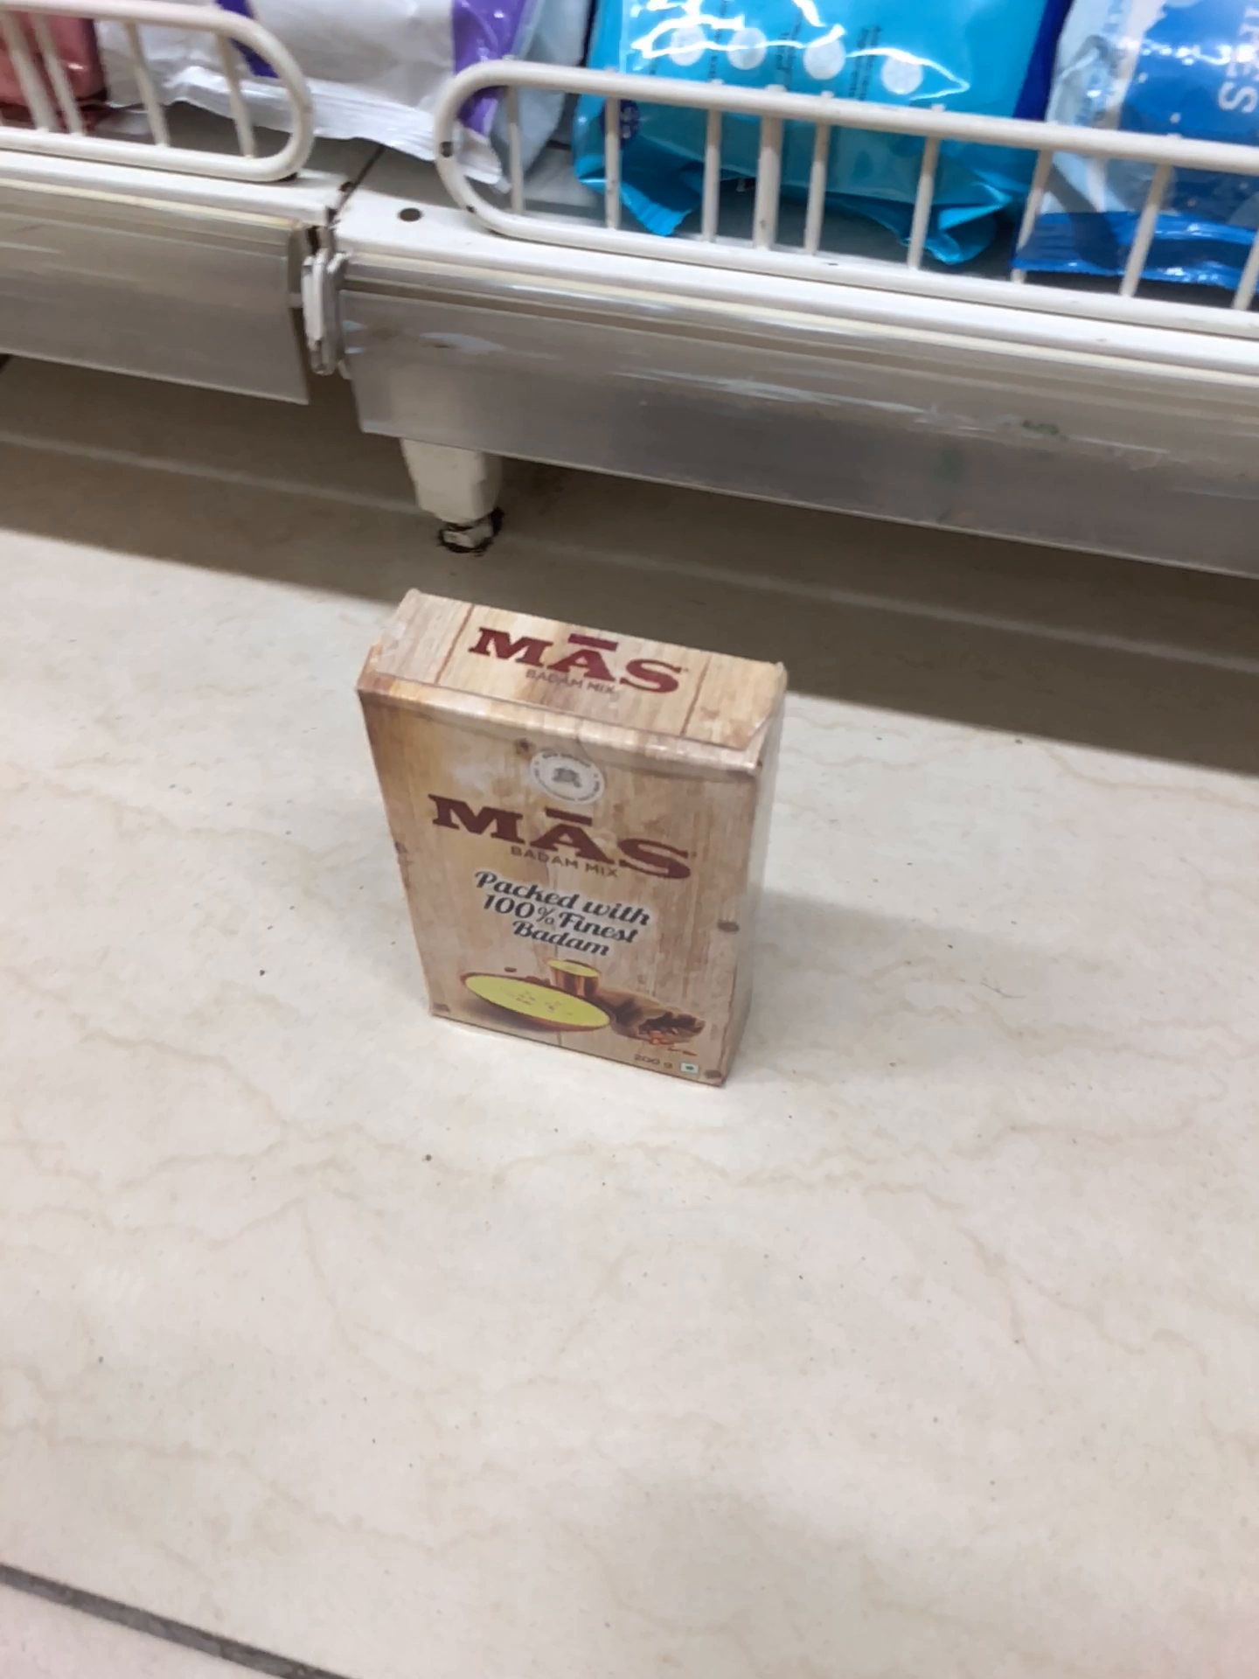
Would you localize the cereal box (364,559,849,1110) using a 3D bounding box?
[{"bbox_3d":[-0.004,0.005,0.331,0.090,0.129,0.040,13,53,10],"label":"cereal box"}]
